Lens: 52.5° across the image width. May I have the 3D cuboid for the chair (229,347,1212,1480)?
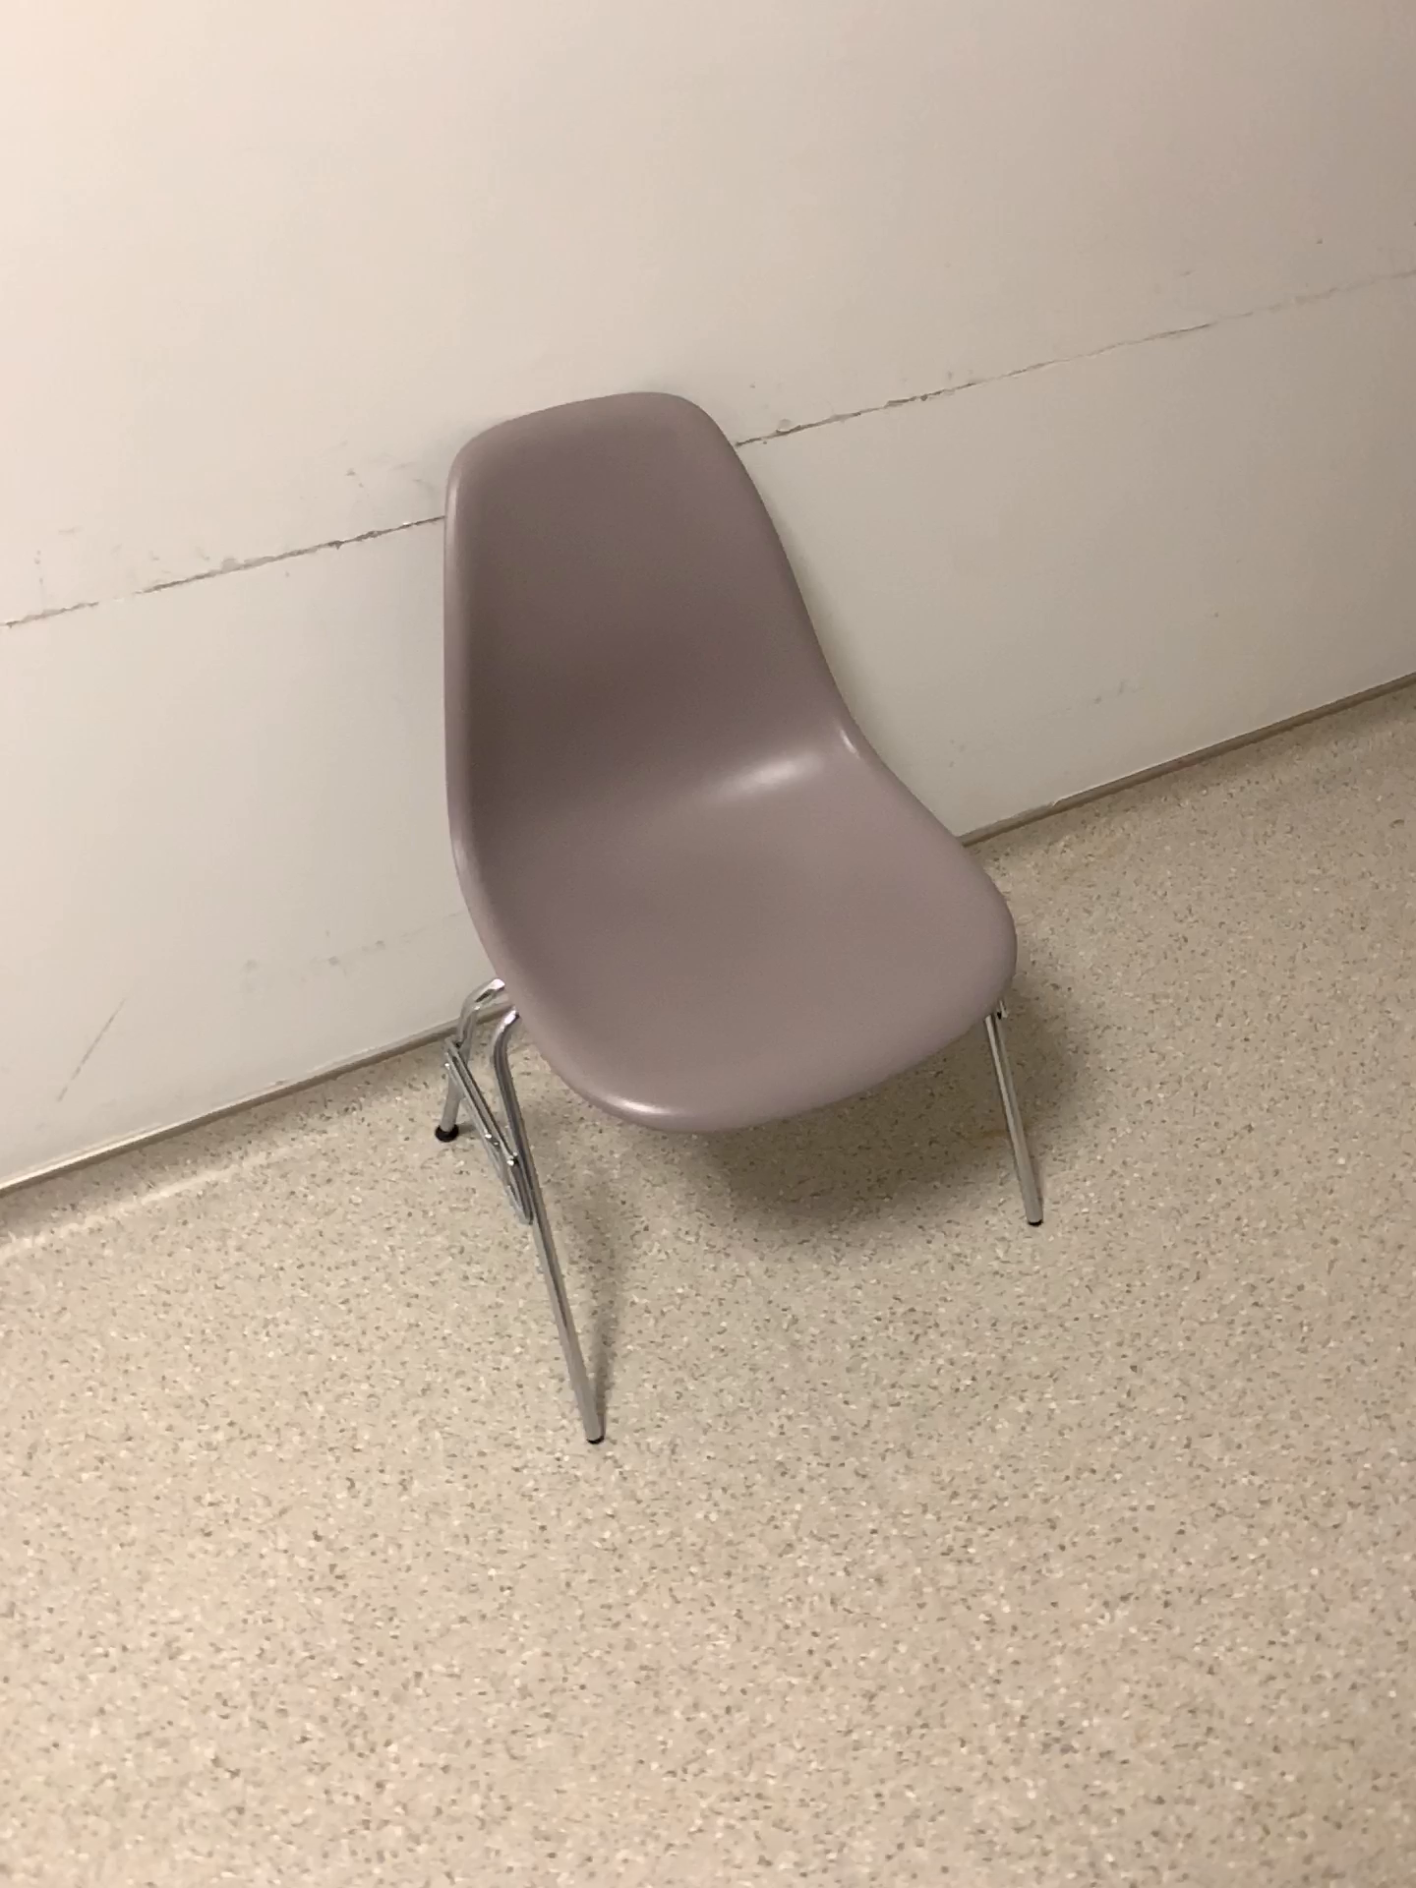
[{"bbox_3d":[-0.008,-0.028,1.383,0.581,0.782,0.544,-20,47,-18],"label":"chair"}]
